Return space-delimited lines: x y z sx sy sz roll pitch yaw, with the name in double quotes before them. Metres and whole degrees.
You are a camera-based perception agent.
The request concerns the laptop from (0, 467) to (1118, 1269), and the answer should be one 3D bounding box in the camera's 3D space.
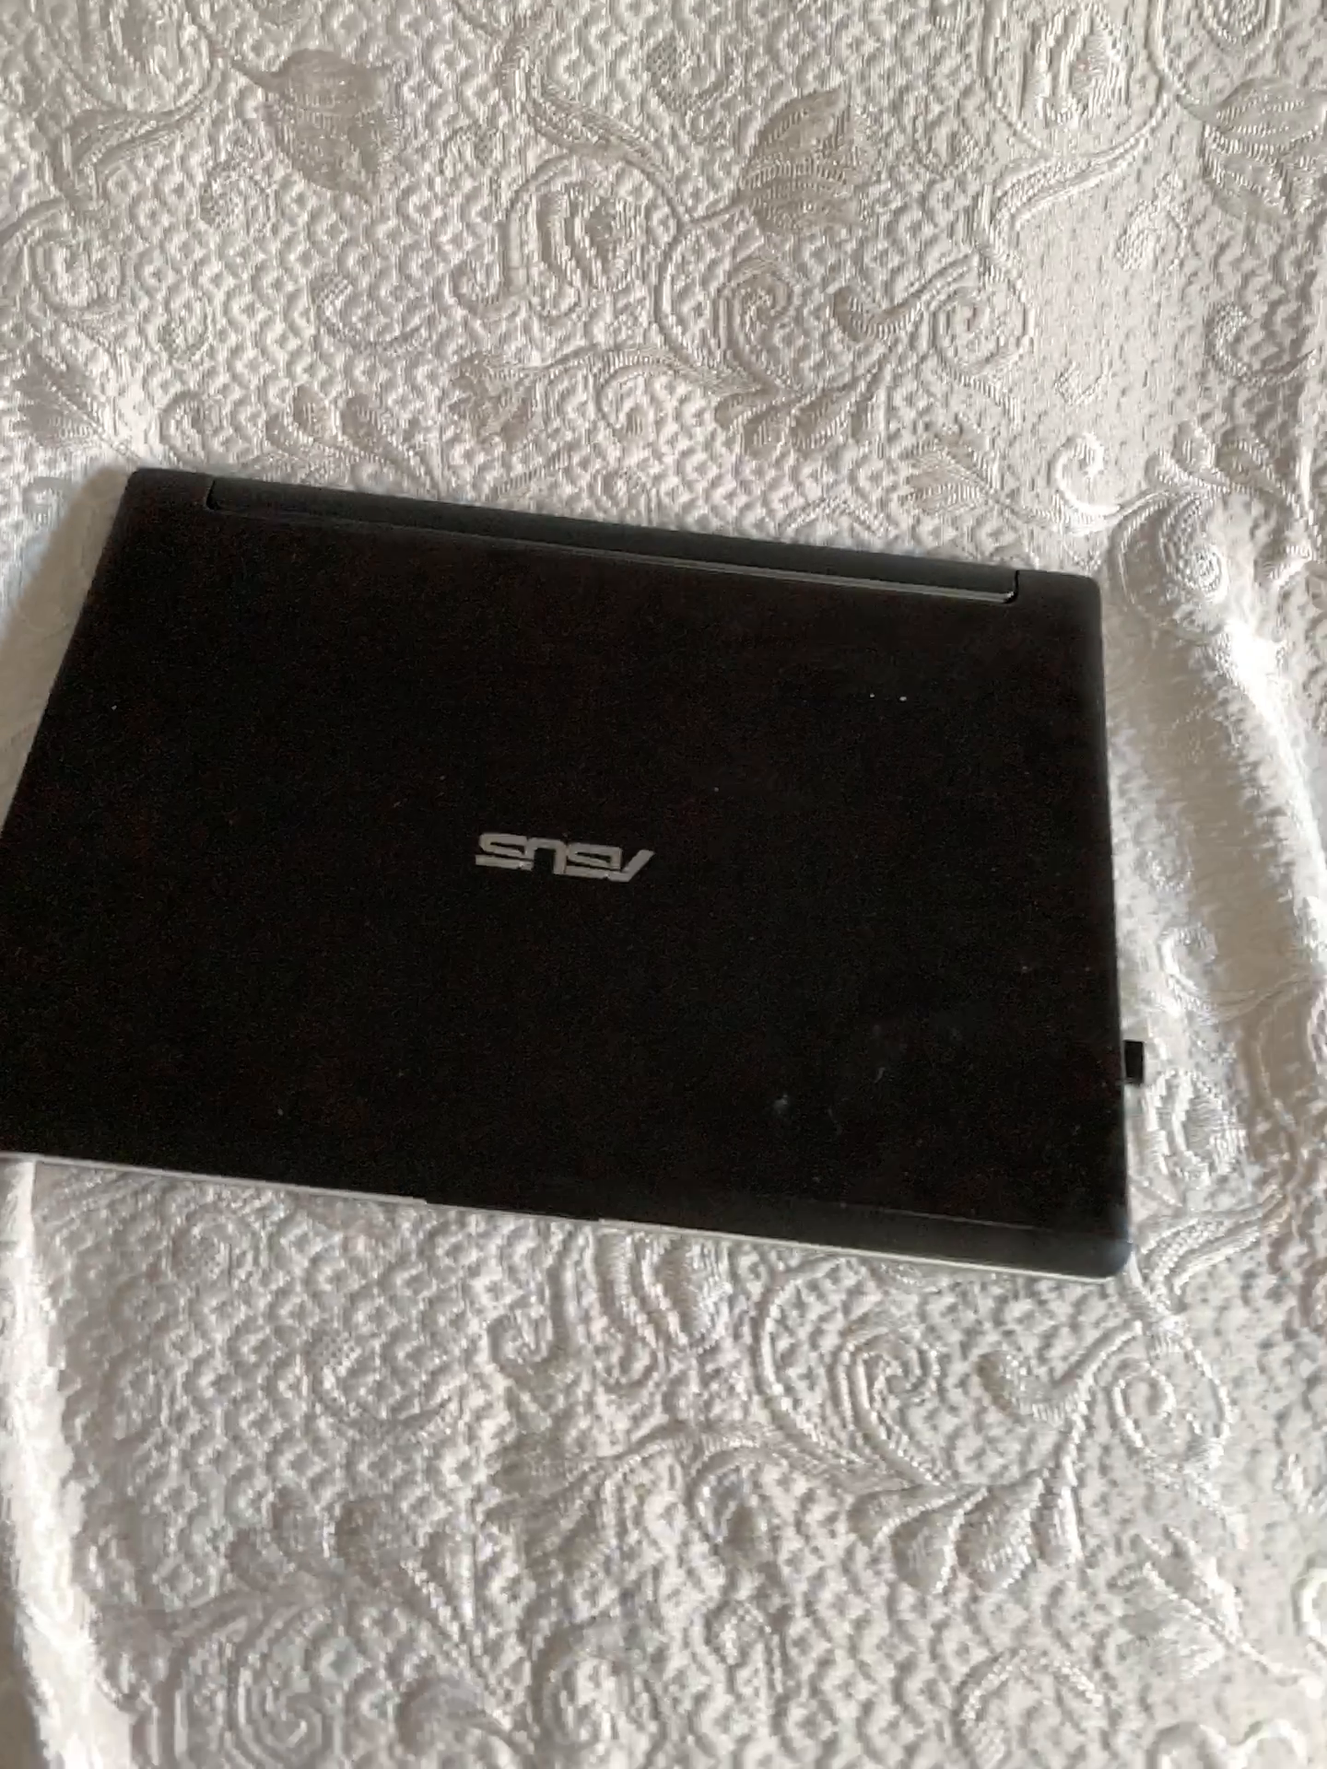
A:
"laptop" -0.028 -0.018 0.417 0.333 0.001 0.232 7 65 -1
